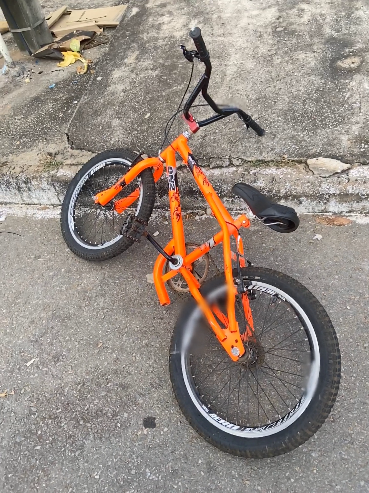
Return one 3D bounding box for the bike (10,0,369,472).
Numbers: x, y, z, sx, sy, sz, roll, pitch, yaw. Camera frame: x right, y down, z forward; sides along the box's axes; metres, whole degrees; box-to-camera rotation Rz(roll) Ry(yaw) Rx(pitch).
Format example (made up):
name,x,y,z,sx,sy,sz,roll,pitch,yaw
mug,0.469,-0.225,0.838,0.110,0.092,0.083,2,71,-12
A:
name,x,y,z,sx,sy,sz,roll,pitch,yaw
bike,0.179,-0.227,1.250,0.746,0.857,1.359,-29,51,-16
